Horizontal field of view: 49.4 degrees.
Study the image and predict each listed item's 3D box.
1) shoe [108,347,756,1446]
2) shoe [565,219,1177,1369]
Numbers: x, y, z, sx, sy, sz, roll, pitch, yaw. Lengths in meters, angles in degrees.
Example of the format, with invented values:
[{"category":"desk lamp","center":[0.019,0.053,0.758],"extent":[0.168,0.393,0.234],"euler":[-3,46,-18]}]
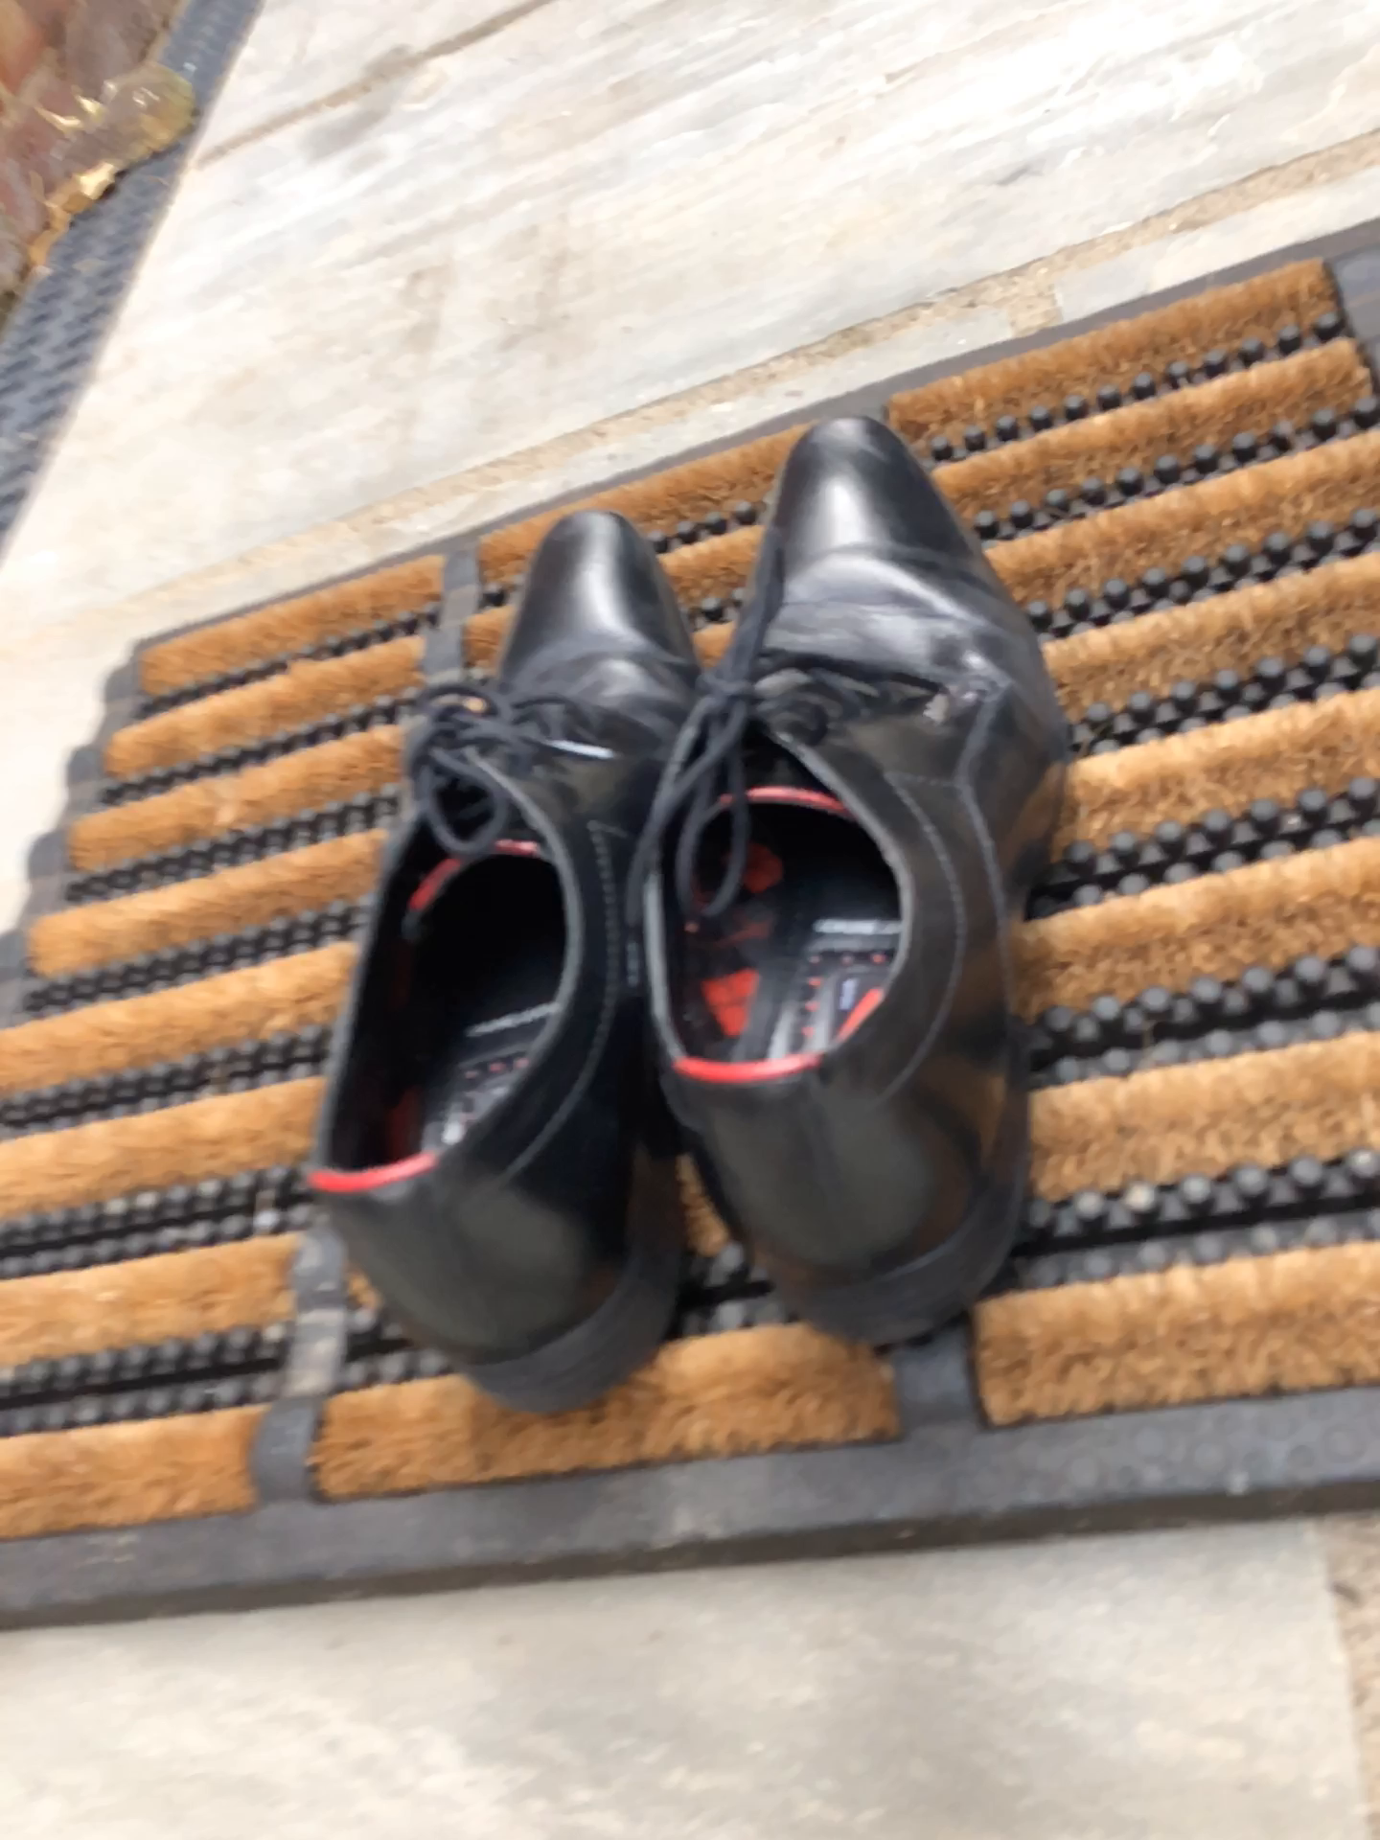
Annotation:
[{"category":"shoe","center":[-0.049,-0.022,0.427],"extent":[0.100,0.099,0.302],"euler":[-12,49,19]},{"category":"shoe","center":[0.049,-0.050,0.401],"extent":[0.100,0.099,0.302],"euler":[-12,49,19]}]
